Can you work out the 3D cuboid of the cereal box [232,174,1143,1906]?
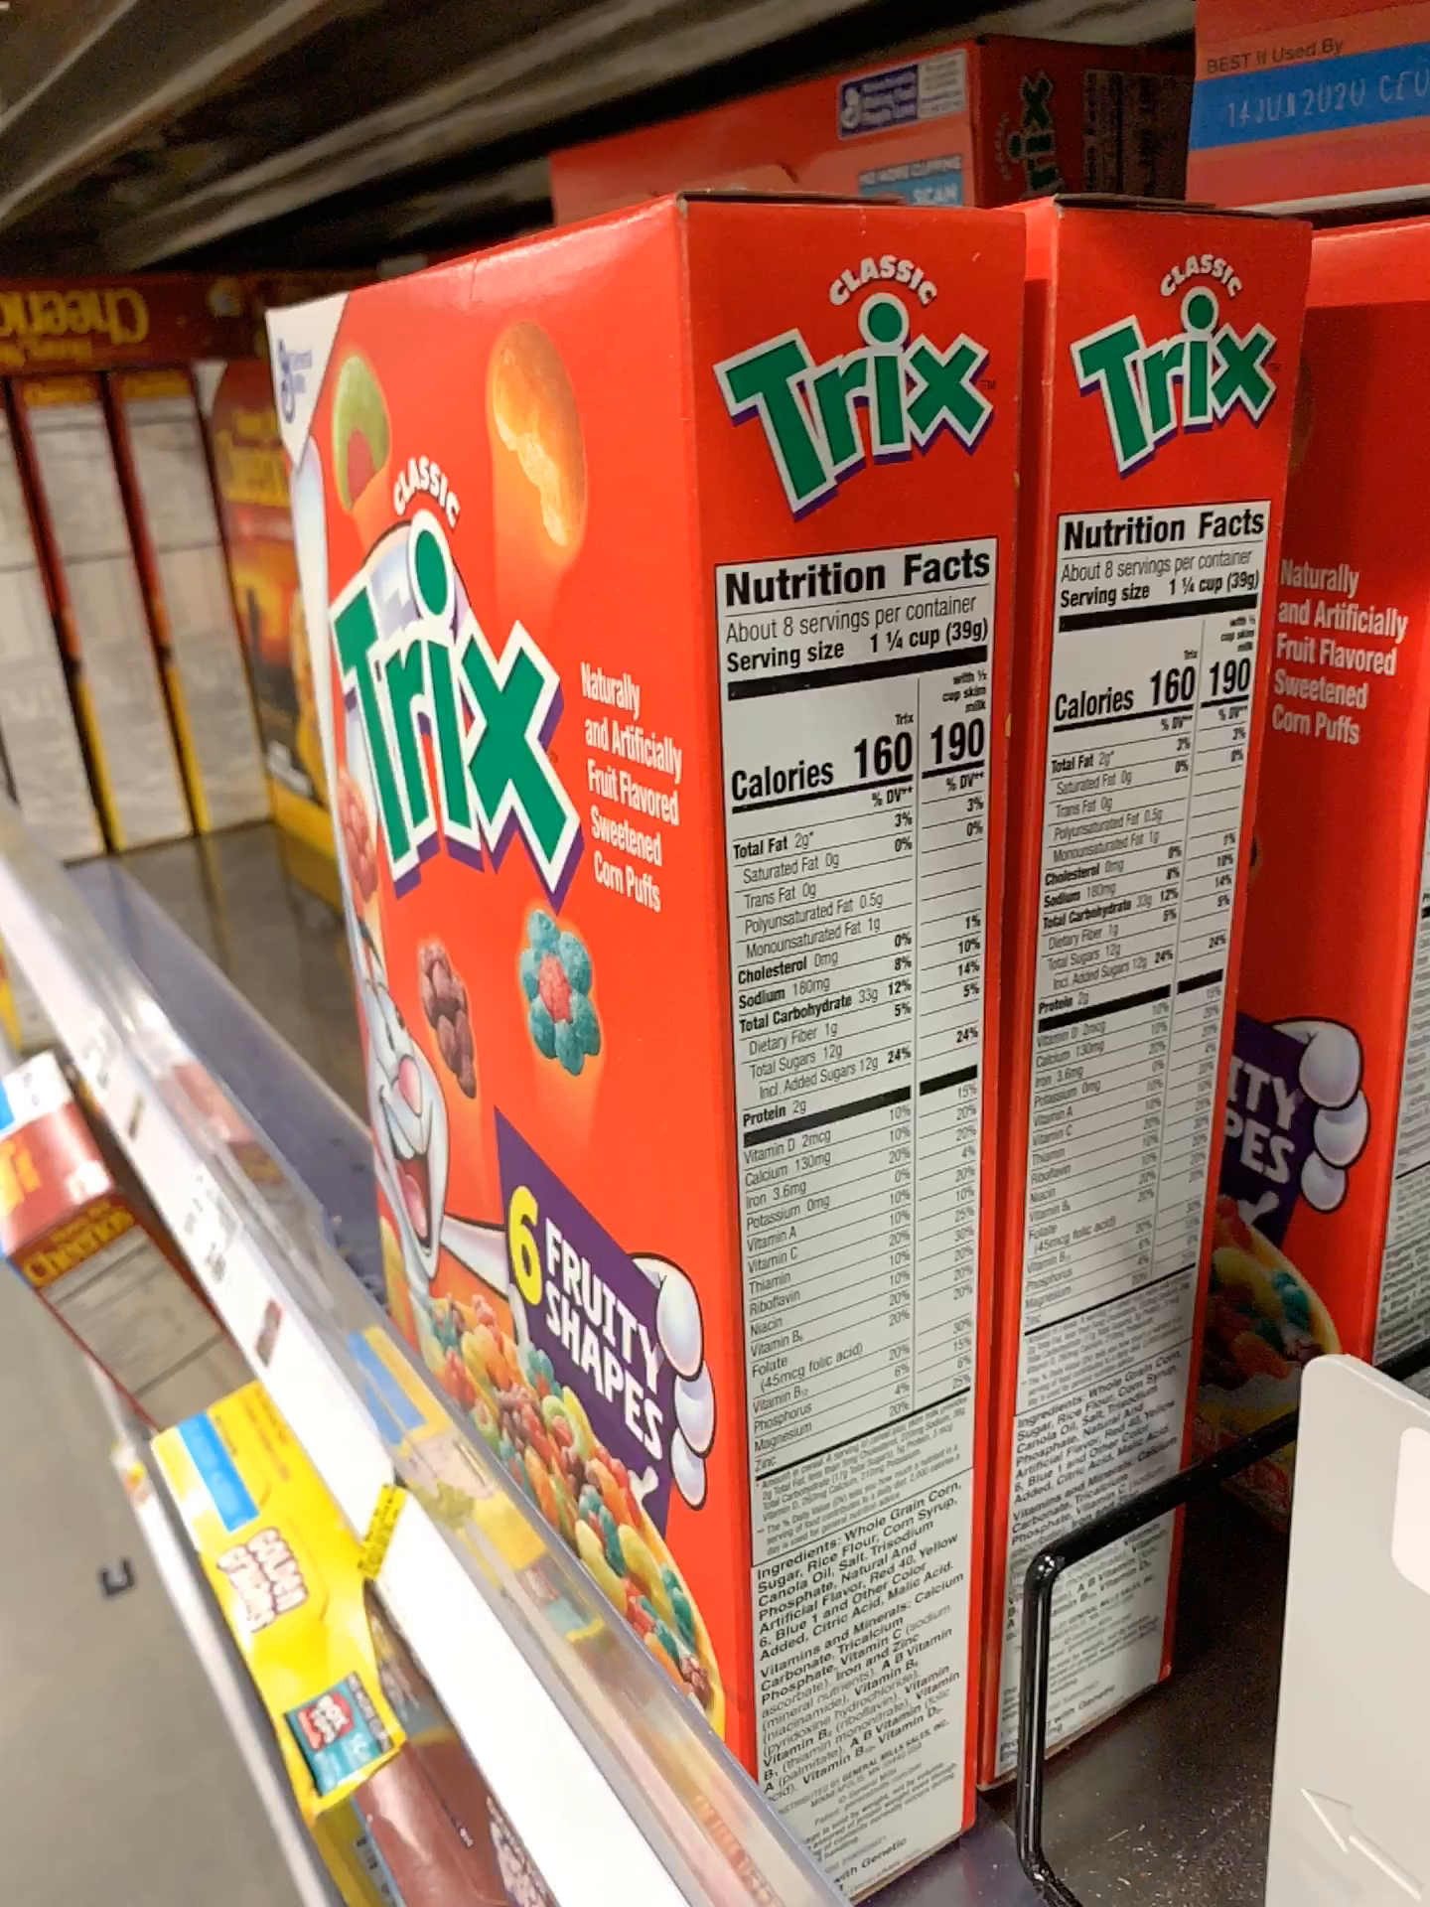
[{"bbox_3d":[-0.017,0.018,0.301,0.060,0.289,0.201,-15,24,-28],"label":"cereal box"}]
